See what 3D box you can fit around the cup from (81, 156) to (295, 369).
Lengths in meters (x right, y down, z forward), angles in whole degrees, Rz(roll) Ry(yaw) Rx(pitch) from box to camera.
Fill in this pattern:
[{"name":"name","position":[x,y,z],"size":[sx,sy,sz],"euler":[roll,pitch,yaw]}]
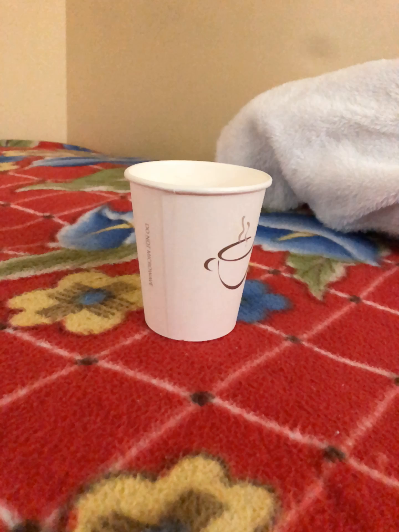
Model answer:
[{"name":"cup","position":[-0.010,-0.011,0.267],"size":[0.090,0.090,0.080],"euler":[-15,31,-41]}]
